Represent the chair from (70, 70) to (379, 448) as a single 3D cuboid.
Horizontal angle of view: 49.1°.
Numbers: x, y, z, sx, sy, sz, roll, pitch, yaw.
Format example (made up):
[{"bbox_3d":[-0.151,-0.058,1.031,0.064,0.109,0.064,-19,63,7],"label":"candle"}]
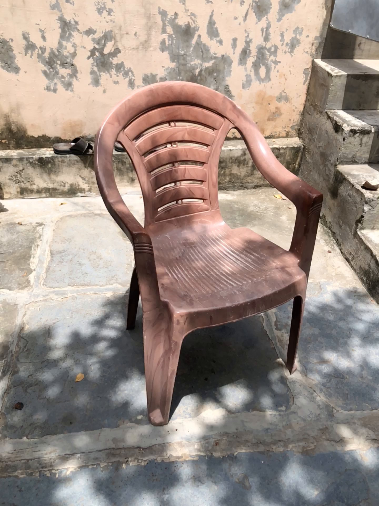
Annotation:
[{"bbox_3d":[0.067,-0.018,1.152,0.581,0.766,0.542,-14,40,-22],"label":"chair"}]
